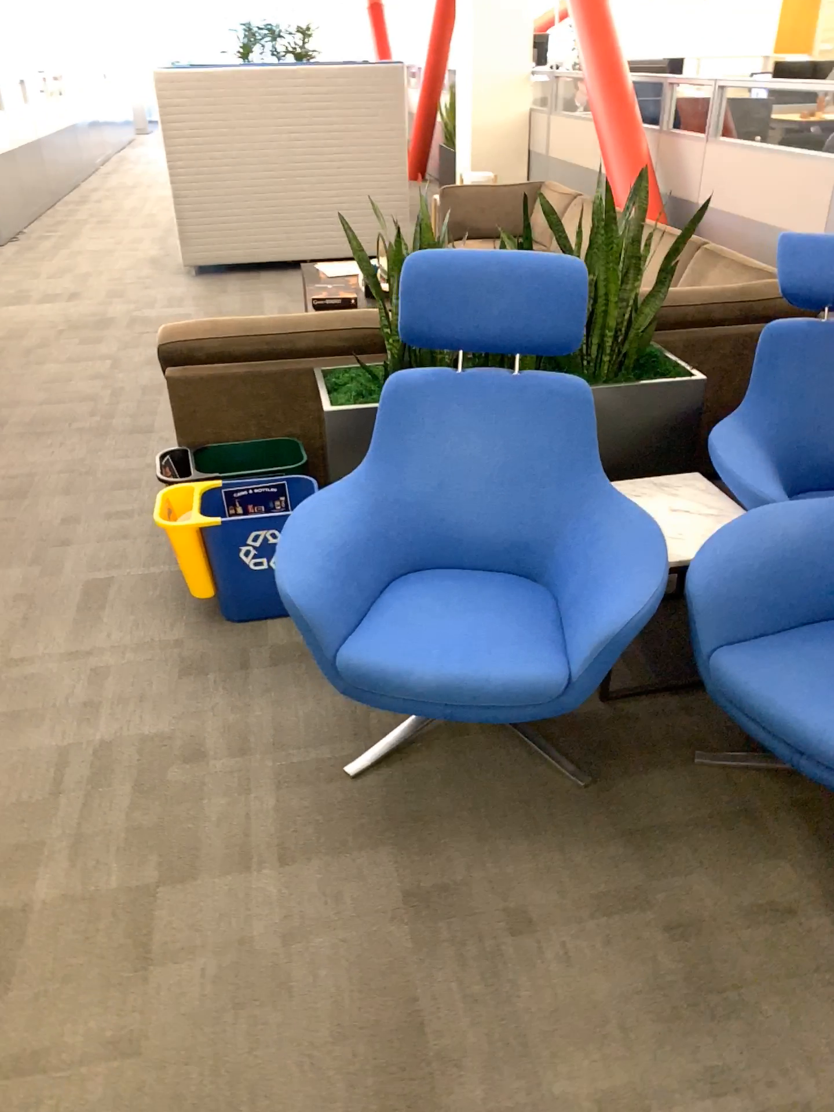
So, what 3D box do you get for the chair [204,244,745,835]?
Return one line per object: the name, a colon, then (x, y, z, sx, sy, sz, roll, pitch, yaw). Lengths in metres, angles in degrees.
chair: (0.145, -0.066, 2.002, 0.921, 1.143, 0.664, 5, 31, 10)
